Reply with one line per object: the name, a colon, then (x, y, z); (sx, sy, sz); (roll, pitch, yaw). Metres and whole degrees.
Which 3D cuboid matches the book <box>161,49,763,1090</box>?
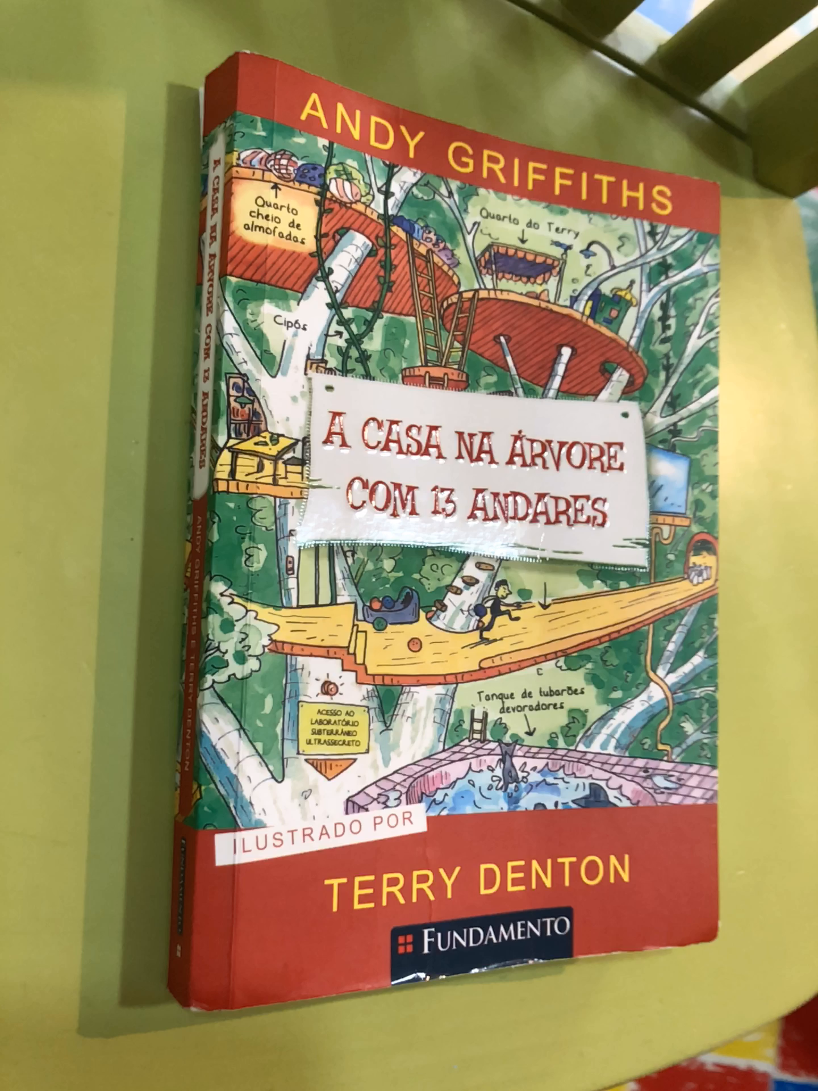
book: (0.018, 0.006, 0.227); (0.137, 0.040, 0.210); (4, 82, -25)
